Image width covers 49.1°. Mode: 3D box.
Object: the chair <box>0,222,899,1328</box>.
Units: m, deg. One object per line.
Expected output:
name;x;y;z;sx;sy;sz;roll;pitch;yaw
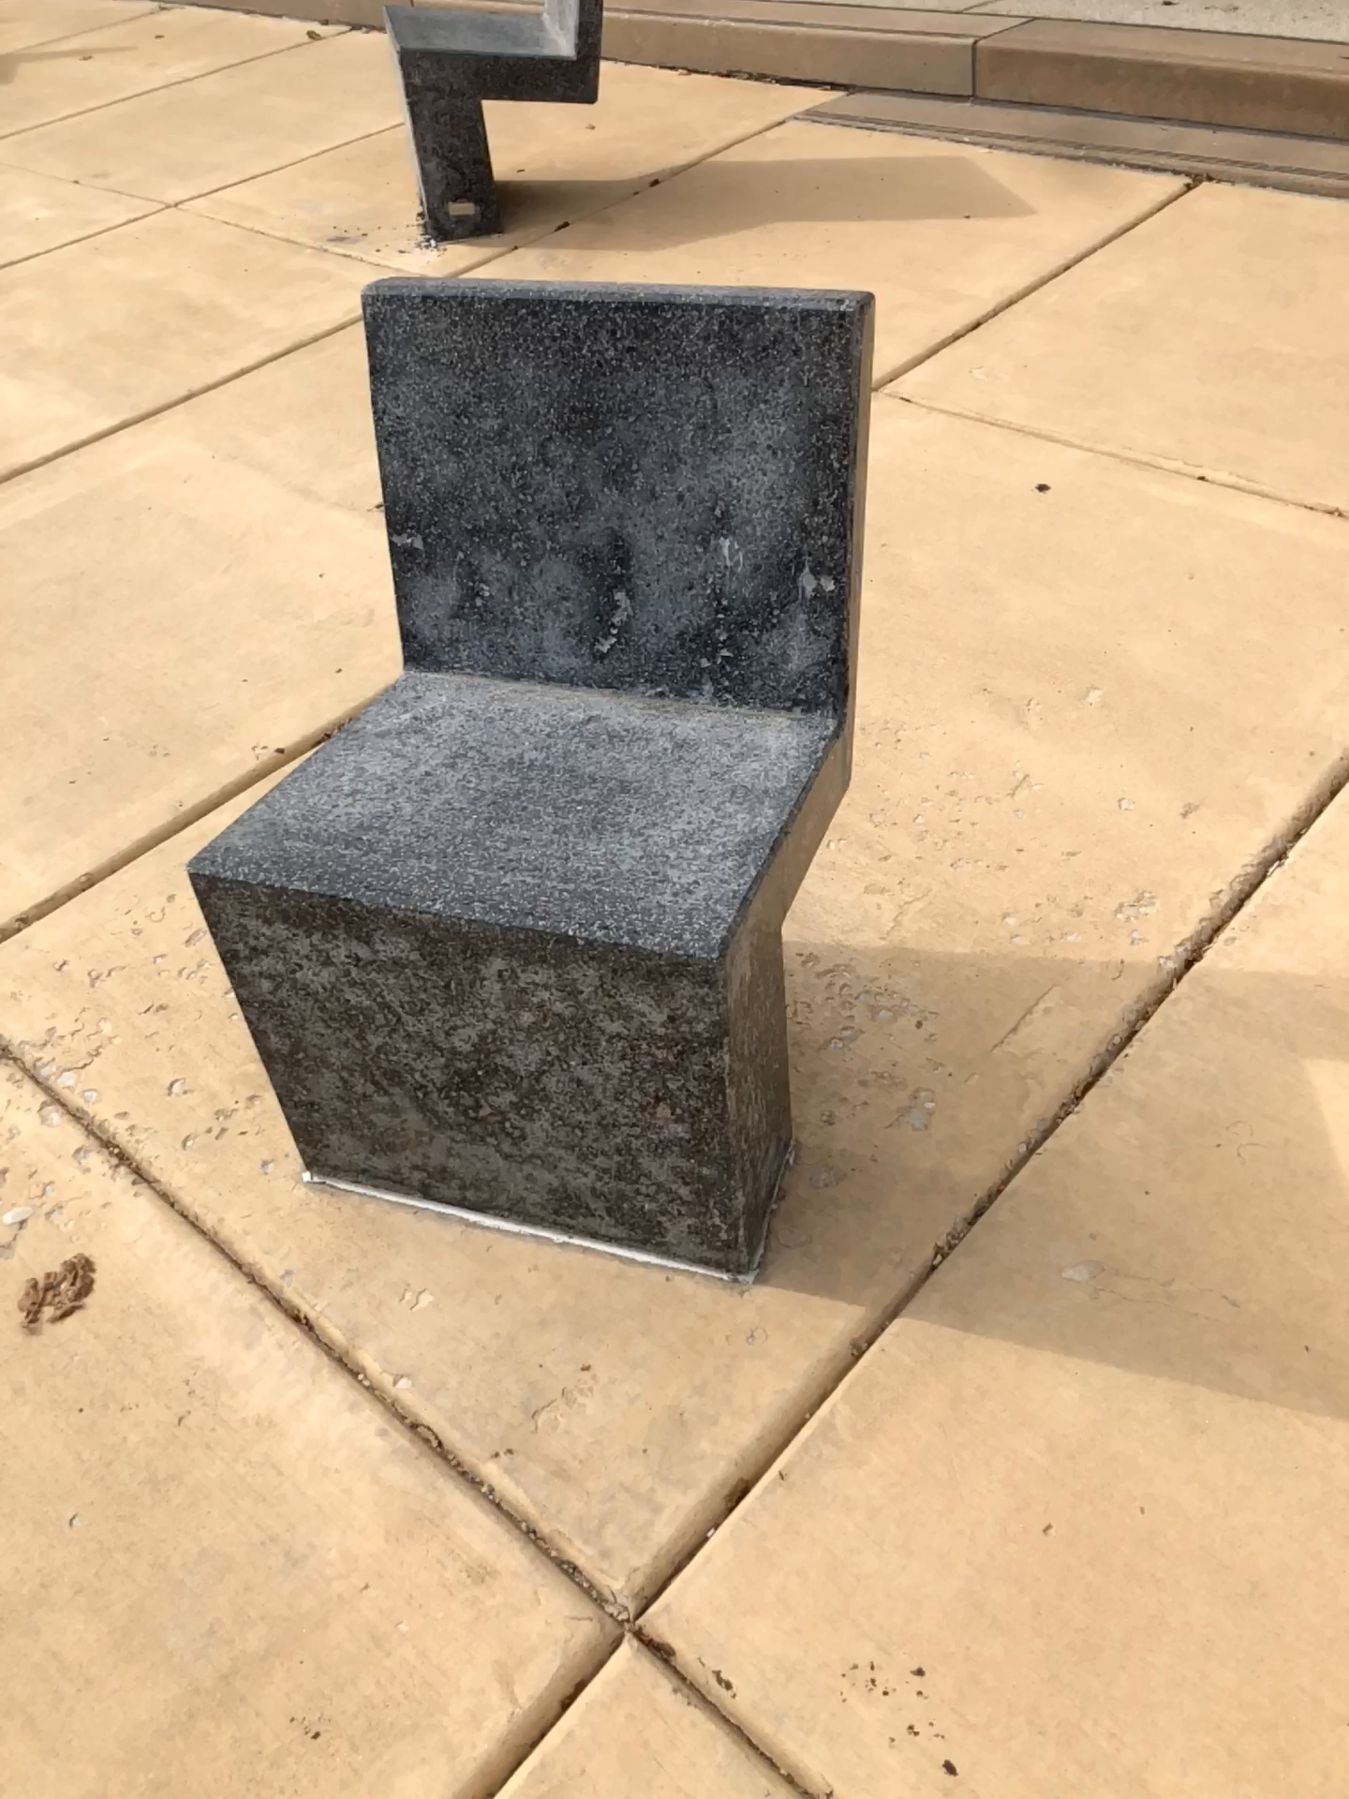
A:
chair;-0.144;-0.139;1.385;0.570;0.798;0.561;8;35;13
